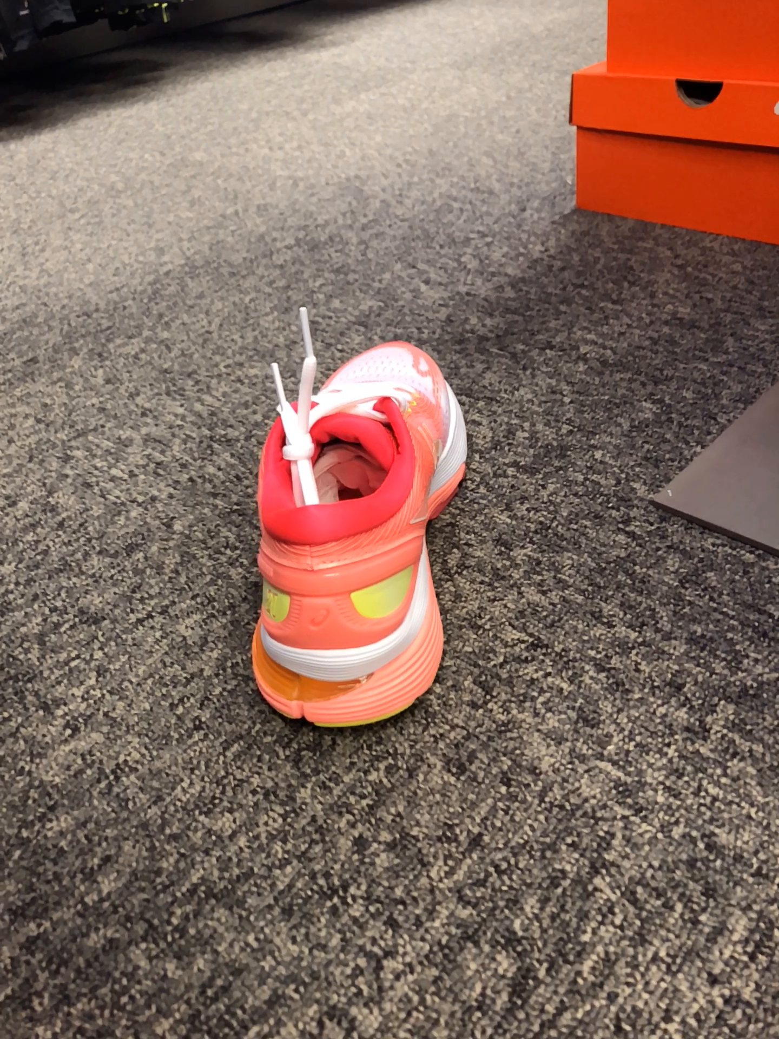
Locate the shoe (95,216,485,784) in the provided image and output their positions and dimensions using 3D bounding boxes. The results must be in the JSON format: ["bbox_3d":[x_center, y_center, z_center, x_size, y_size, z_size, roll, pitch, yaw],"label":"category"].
[{"bbox_3d":[-0.017,-0.031,0.411,0.107,0.129,0.270,0,38,10],"label":"shoe"}]
